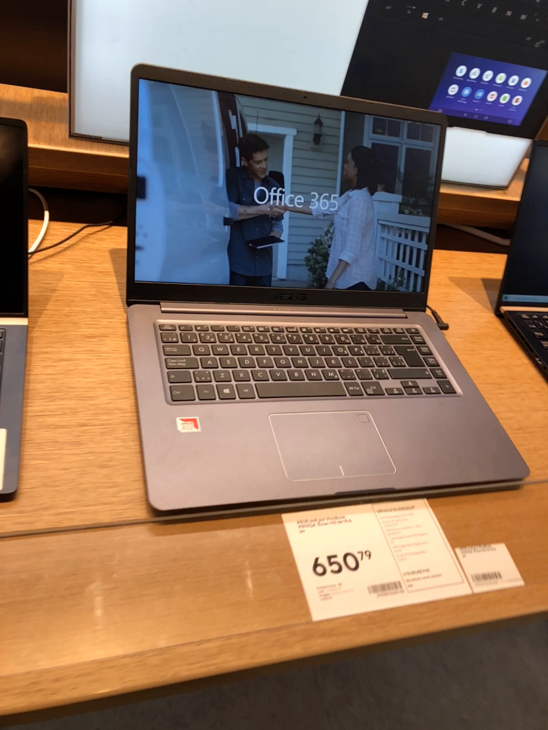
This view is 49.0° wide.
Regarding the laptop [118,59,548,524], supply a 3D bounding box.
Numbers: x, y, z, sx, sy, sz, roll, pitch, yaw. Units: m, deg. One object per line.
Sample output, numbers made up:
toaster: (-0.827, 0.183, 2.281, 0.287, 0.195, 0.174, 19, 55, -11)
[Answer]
laptop: (0.055, -0.090, 0.569, 0.353, 0.177, 0.391, 0, 46, -20)
